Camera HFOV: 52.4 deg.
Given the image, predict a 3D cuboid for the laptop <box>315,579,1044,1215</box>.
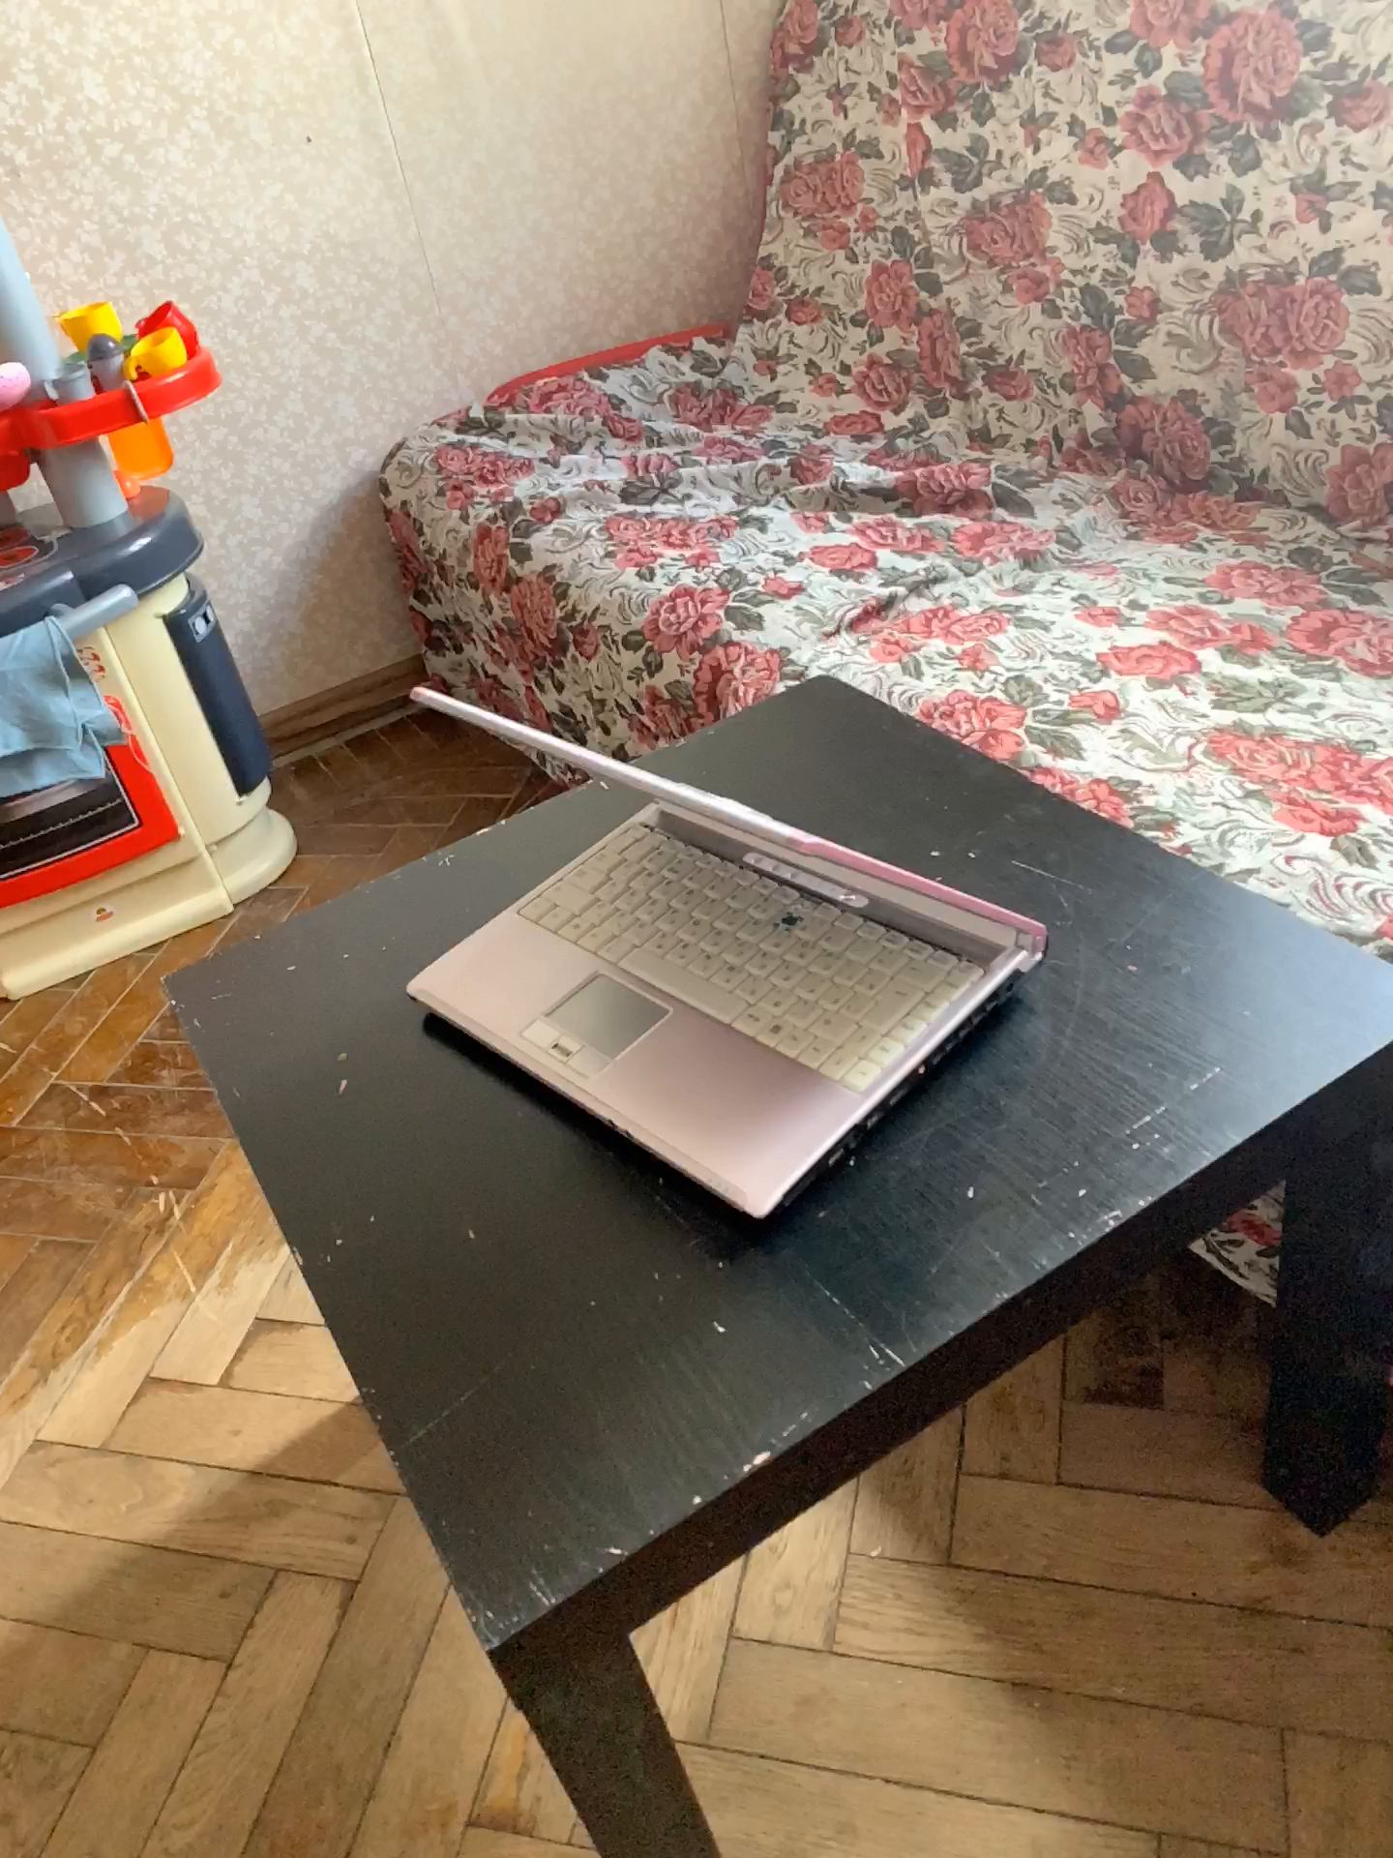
[{"bbox_3d":[-0.010,-0.041,0.762,0.225,0.156,0.306,-38,42,-28],"label":"laptop"}]
